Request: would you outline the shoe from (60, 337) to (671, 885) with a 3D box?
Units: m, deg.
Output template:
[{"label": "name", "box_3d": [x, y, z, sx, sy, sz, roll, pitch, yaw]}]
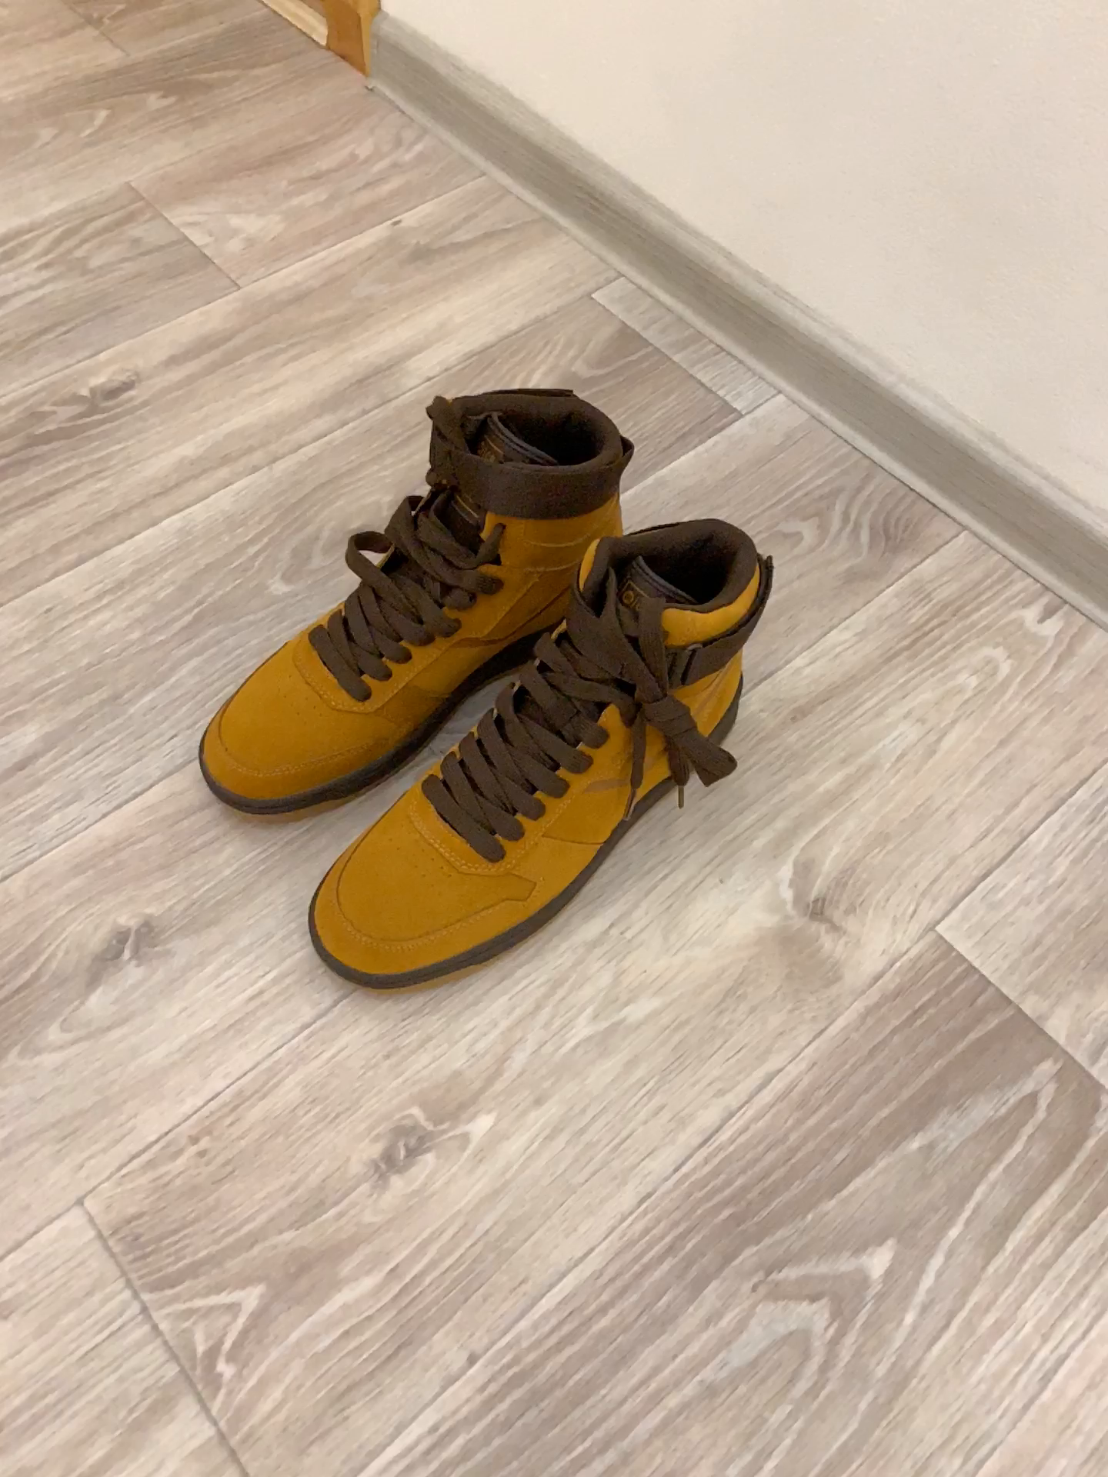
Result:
[{"label": "shoe", "box_3d": [-0.083, -0.071, 0.594, 0.280, 0.139, 0.101, -35, 66, -23]}]

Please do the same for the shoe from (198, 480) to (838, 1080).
[{"label": "shoe", "box_3d": [-0.009, 0.016, 0.553, 0.280, 0.139, 0.101, -35, 66, -23]}]
